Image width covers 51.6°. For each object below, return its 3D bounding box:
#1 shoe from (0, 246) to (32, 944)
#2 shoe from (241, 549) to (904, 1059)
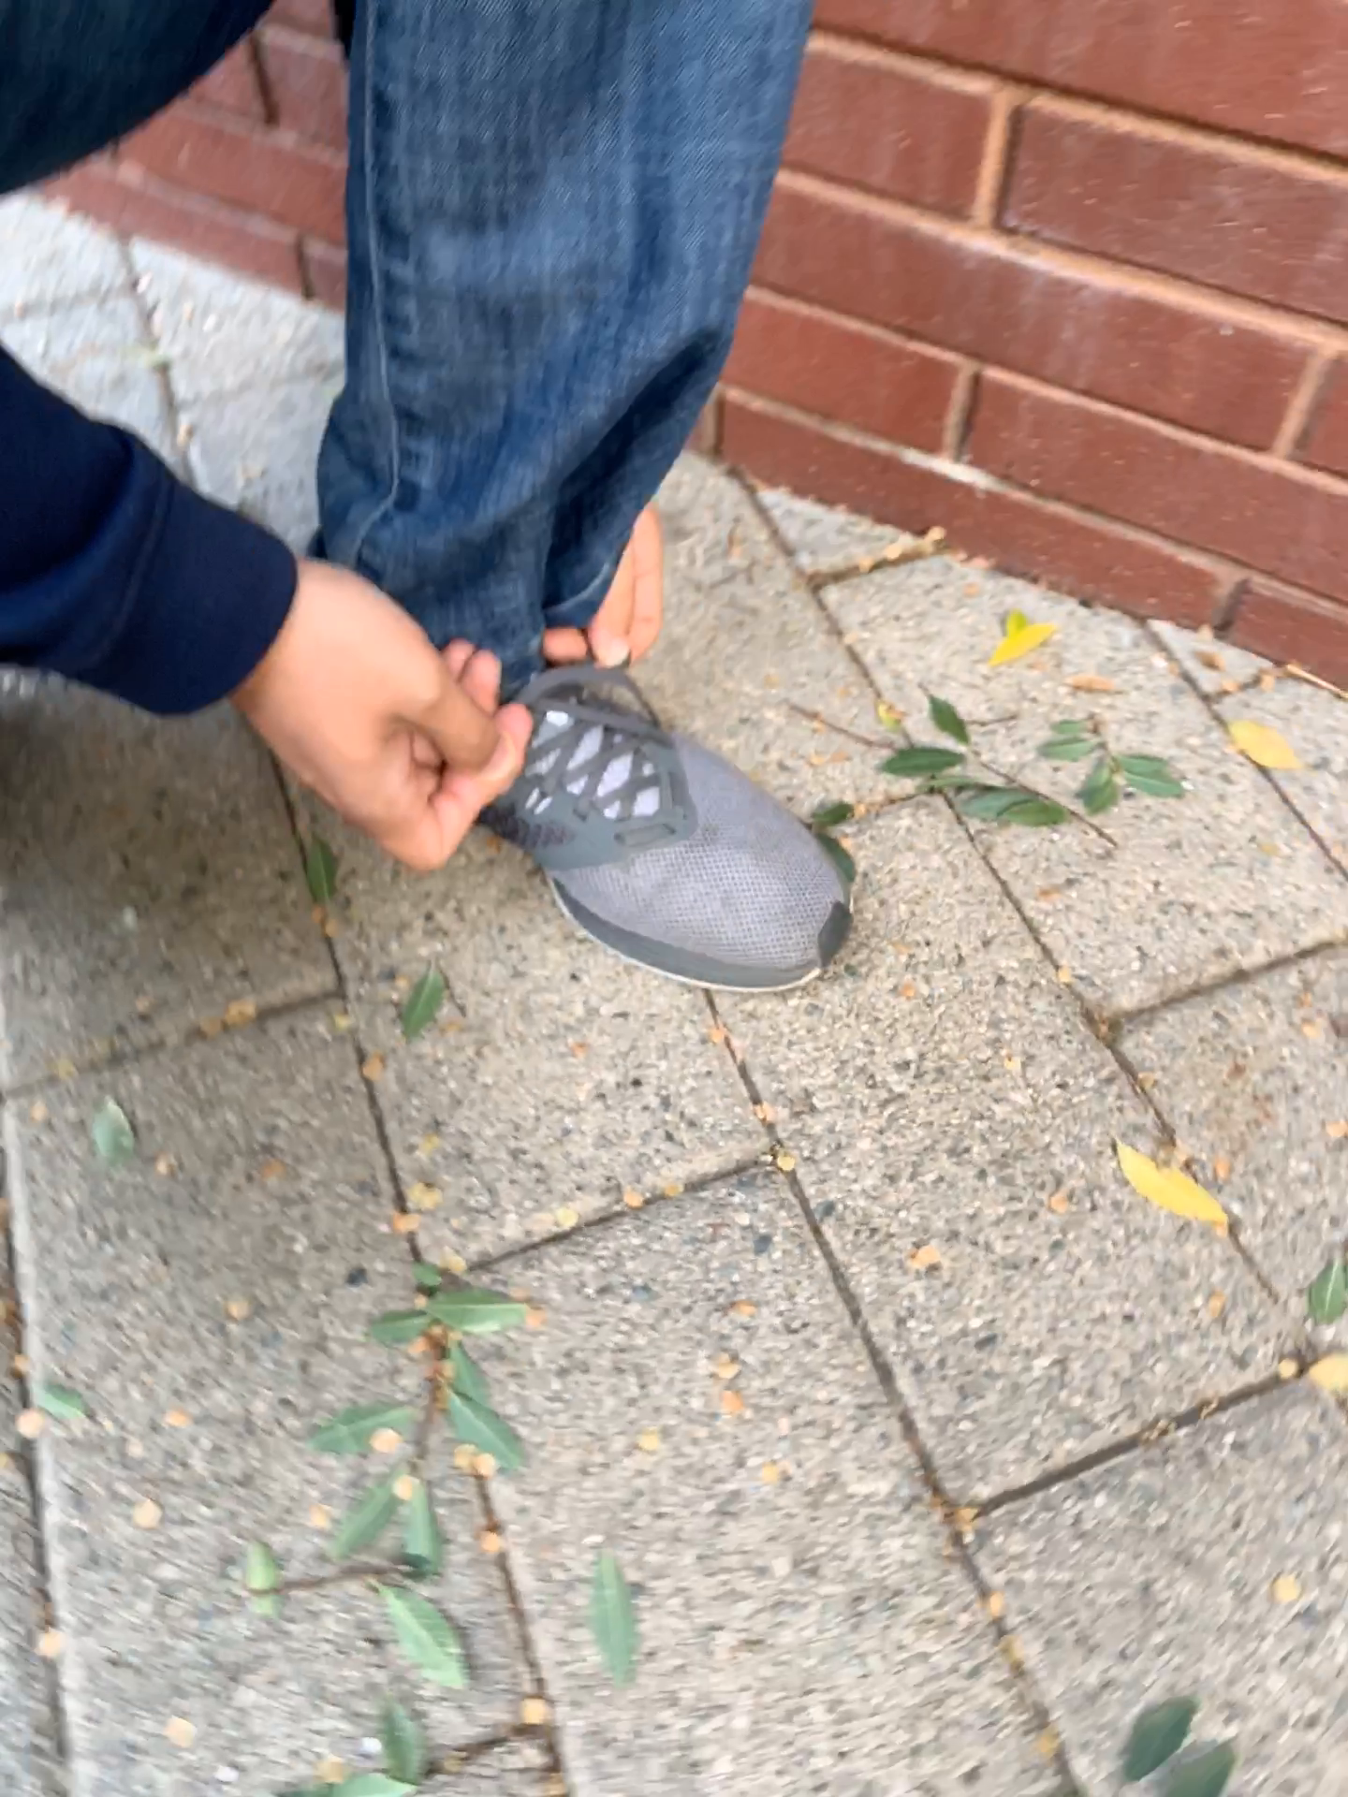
[{"bbox_3d":[-0.406,-0.133,0.640,0.115,0.274,0.098,-11,13,-6],"label":"shoe"},{"bbox_3d":[-0.049,-0.051,0.650,0.280,0.083,0.111,26,58,19],"label":"shoe"}]
